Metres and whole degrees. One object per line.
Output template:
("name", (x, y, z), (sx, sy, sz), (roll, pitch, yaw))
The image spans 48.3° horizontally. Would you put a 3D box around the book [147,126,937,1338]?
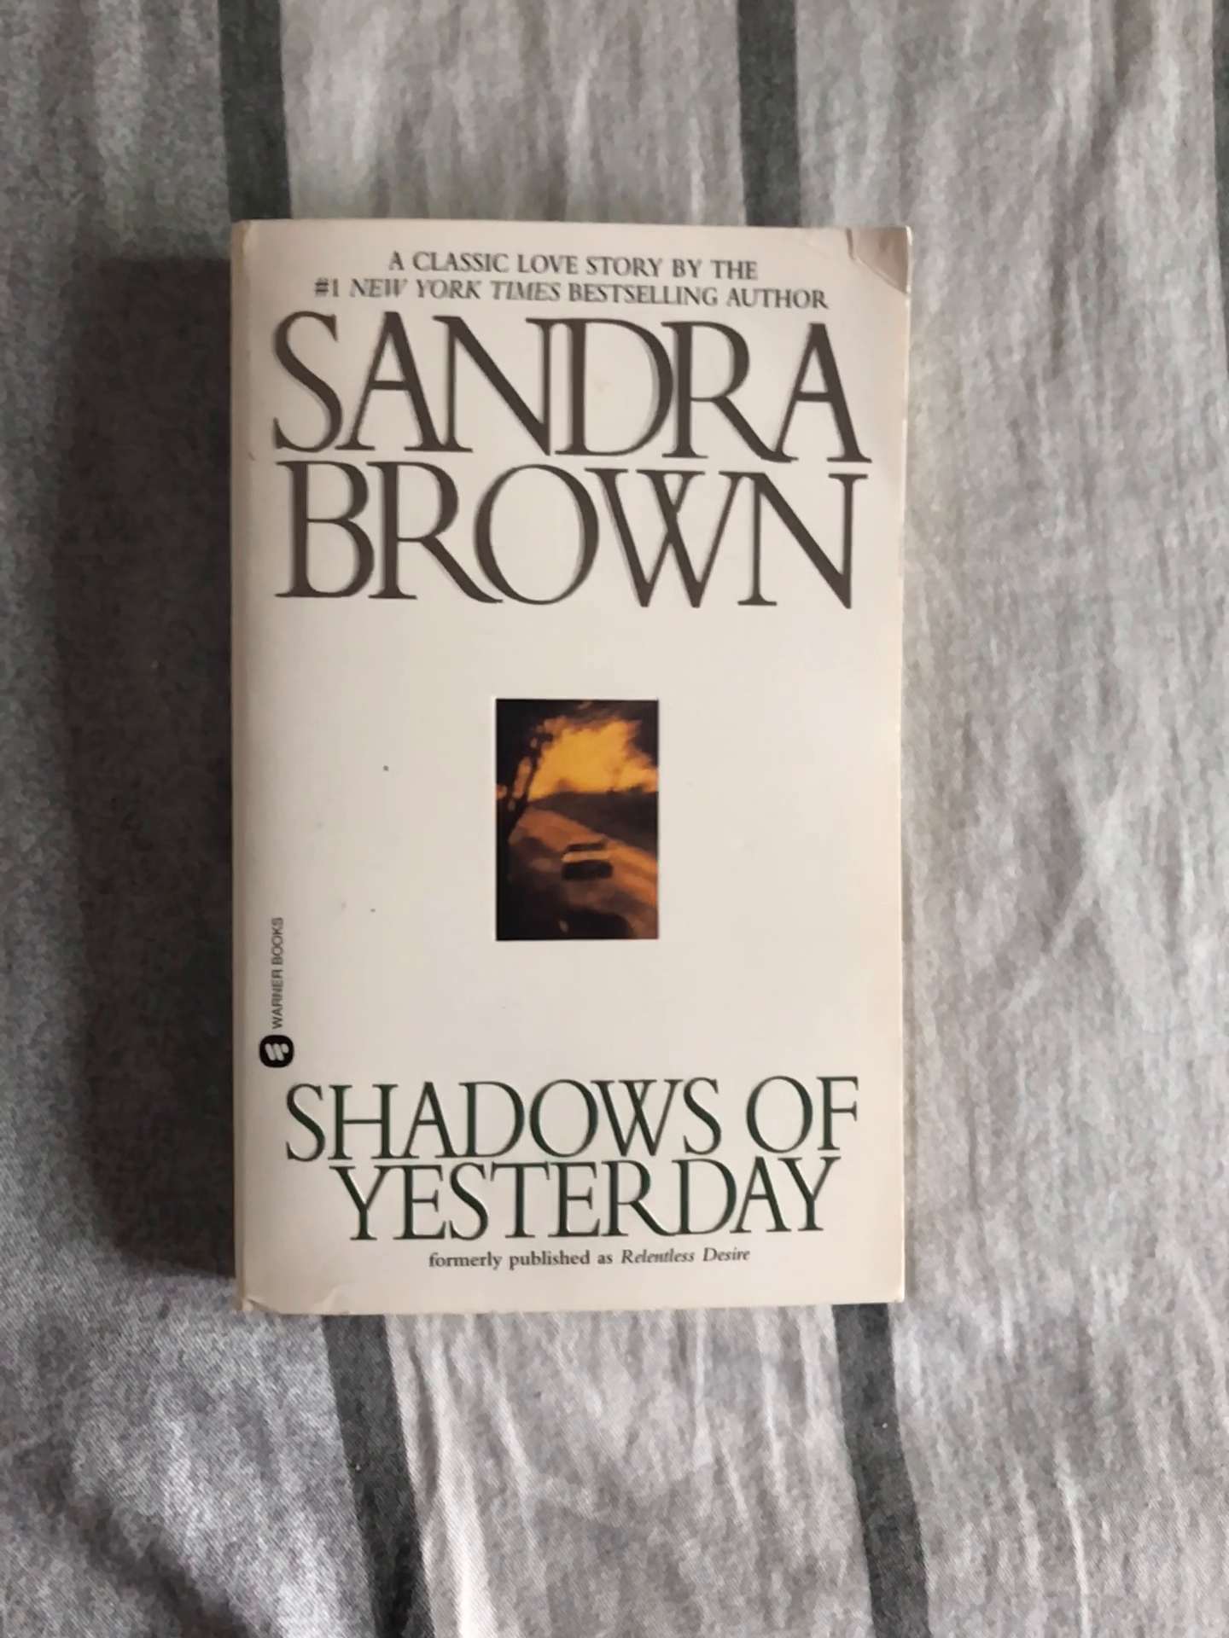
("book", (-0.011, -0.012, 0.228), (0.120, 0.030, 0.180), (1, 91, -9))
